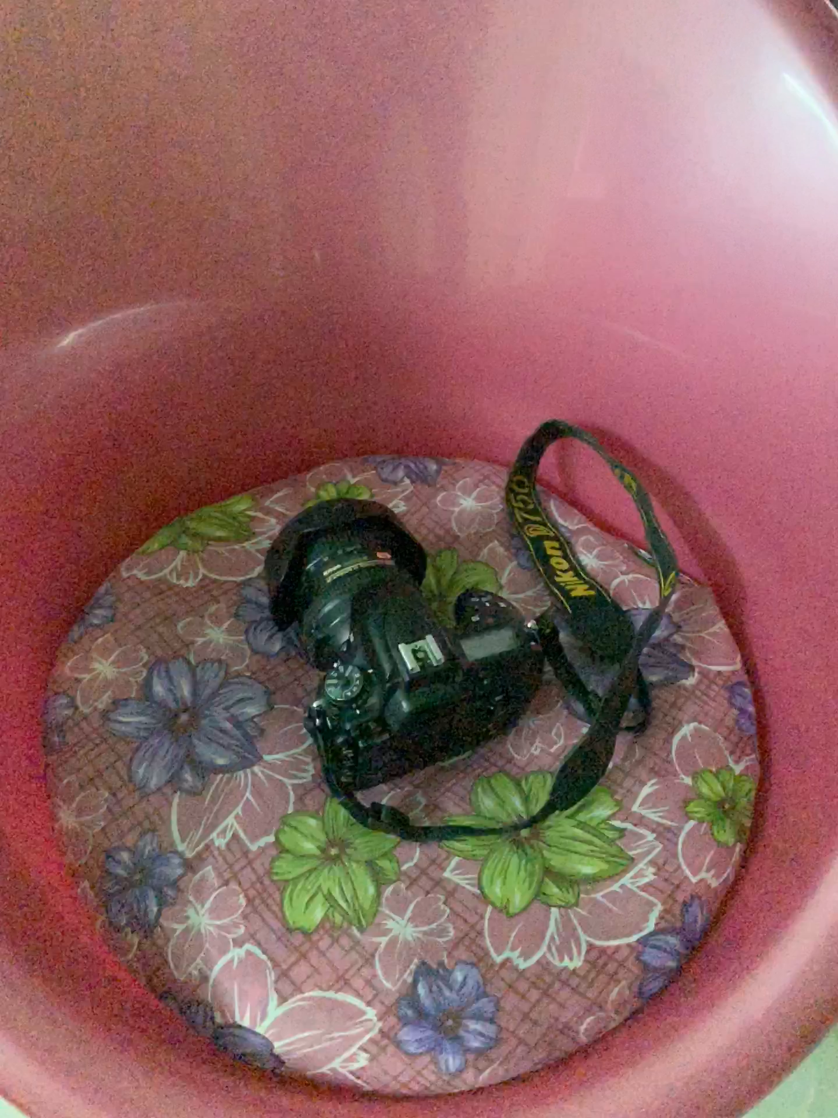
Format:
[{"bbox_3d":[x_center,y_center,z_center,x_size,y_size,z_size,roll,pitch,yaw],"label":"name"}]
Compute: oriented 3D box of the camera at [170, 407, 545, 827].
[{"bbox_3d":[-0.044,0.034,0.555,0.166,0.130,0.192,-18,57,-13],"label":"camera"}]
